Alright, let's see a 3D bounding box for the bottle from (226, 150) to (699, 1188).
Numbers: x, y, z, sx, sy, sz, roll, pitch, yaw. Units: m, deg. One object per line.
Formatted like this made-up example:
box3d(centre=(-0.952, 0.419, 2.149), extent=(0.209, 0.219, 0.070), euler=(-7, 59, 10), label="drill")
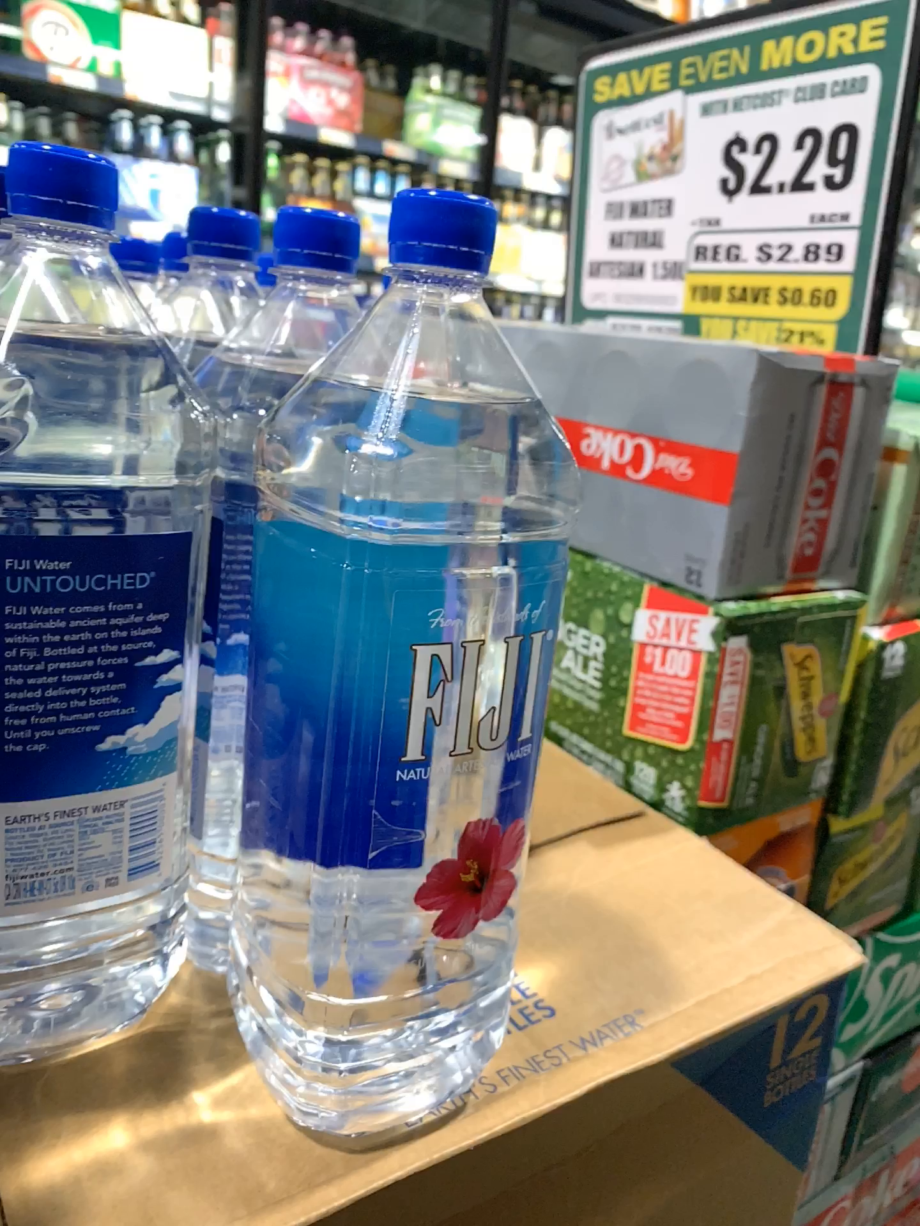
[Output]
box3d(centre=(-0.011, 0.020, 0.295), extent=(0.090, 0.279, 0.080), euler=(-4, 19, -31), label="bottle")
